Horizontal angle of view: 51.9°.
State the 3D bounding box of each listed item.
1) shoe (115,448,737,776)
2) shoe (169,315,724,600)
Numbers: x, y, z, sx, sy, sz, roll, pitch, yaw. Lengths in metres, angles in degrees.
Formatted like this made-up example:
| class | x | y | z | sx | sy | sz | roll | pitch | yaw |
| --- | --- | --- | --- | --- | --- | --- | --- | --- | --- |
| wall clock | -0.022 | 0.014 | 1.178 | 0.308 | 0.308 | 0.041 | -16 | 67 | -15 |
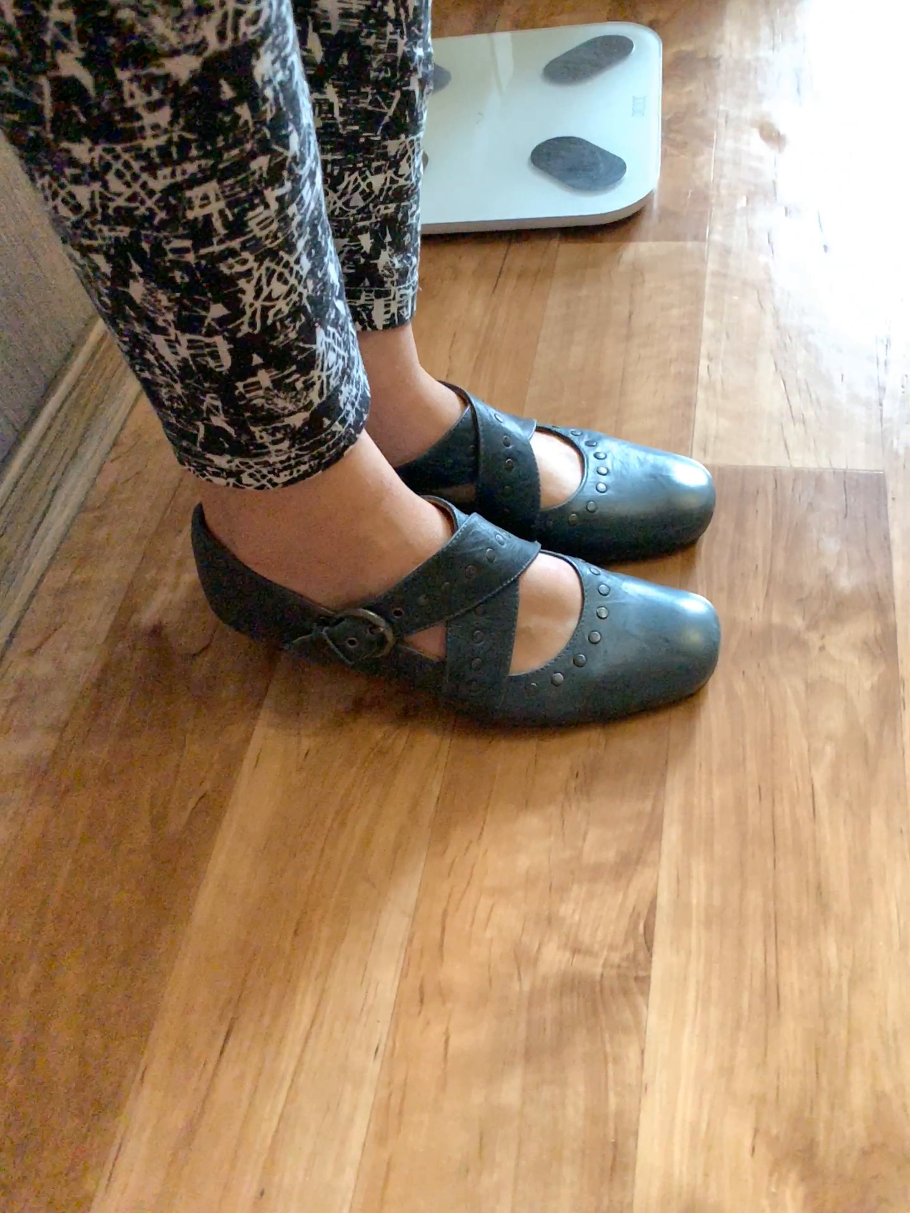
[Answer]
| class | x | y | z | sx | sy | sz | roll | pitch | yaw |
| --- | --- | --- | --- | --- | --- | --- | --- | --- | --- |
| shoe | -0.005 | 0.000 | 0.414 | 0.240 | 0.100 | 0.090 | 4 | 56 | 13 |
| shoe | 0.001 | -0.071 | 0.479 | 0.250 | 0.100 | 0.090 | -1 | 55 | 10 |
